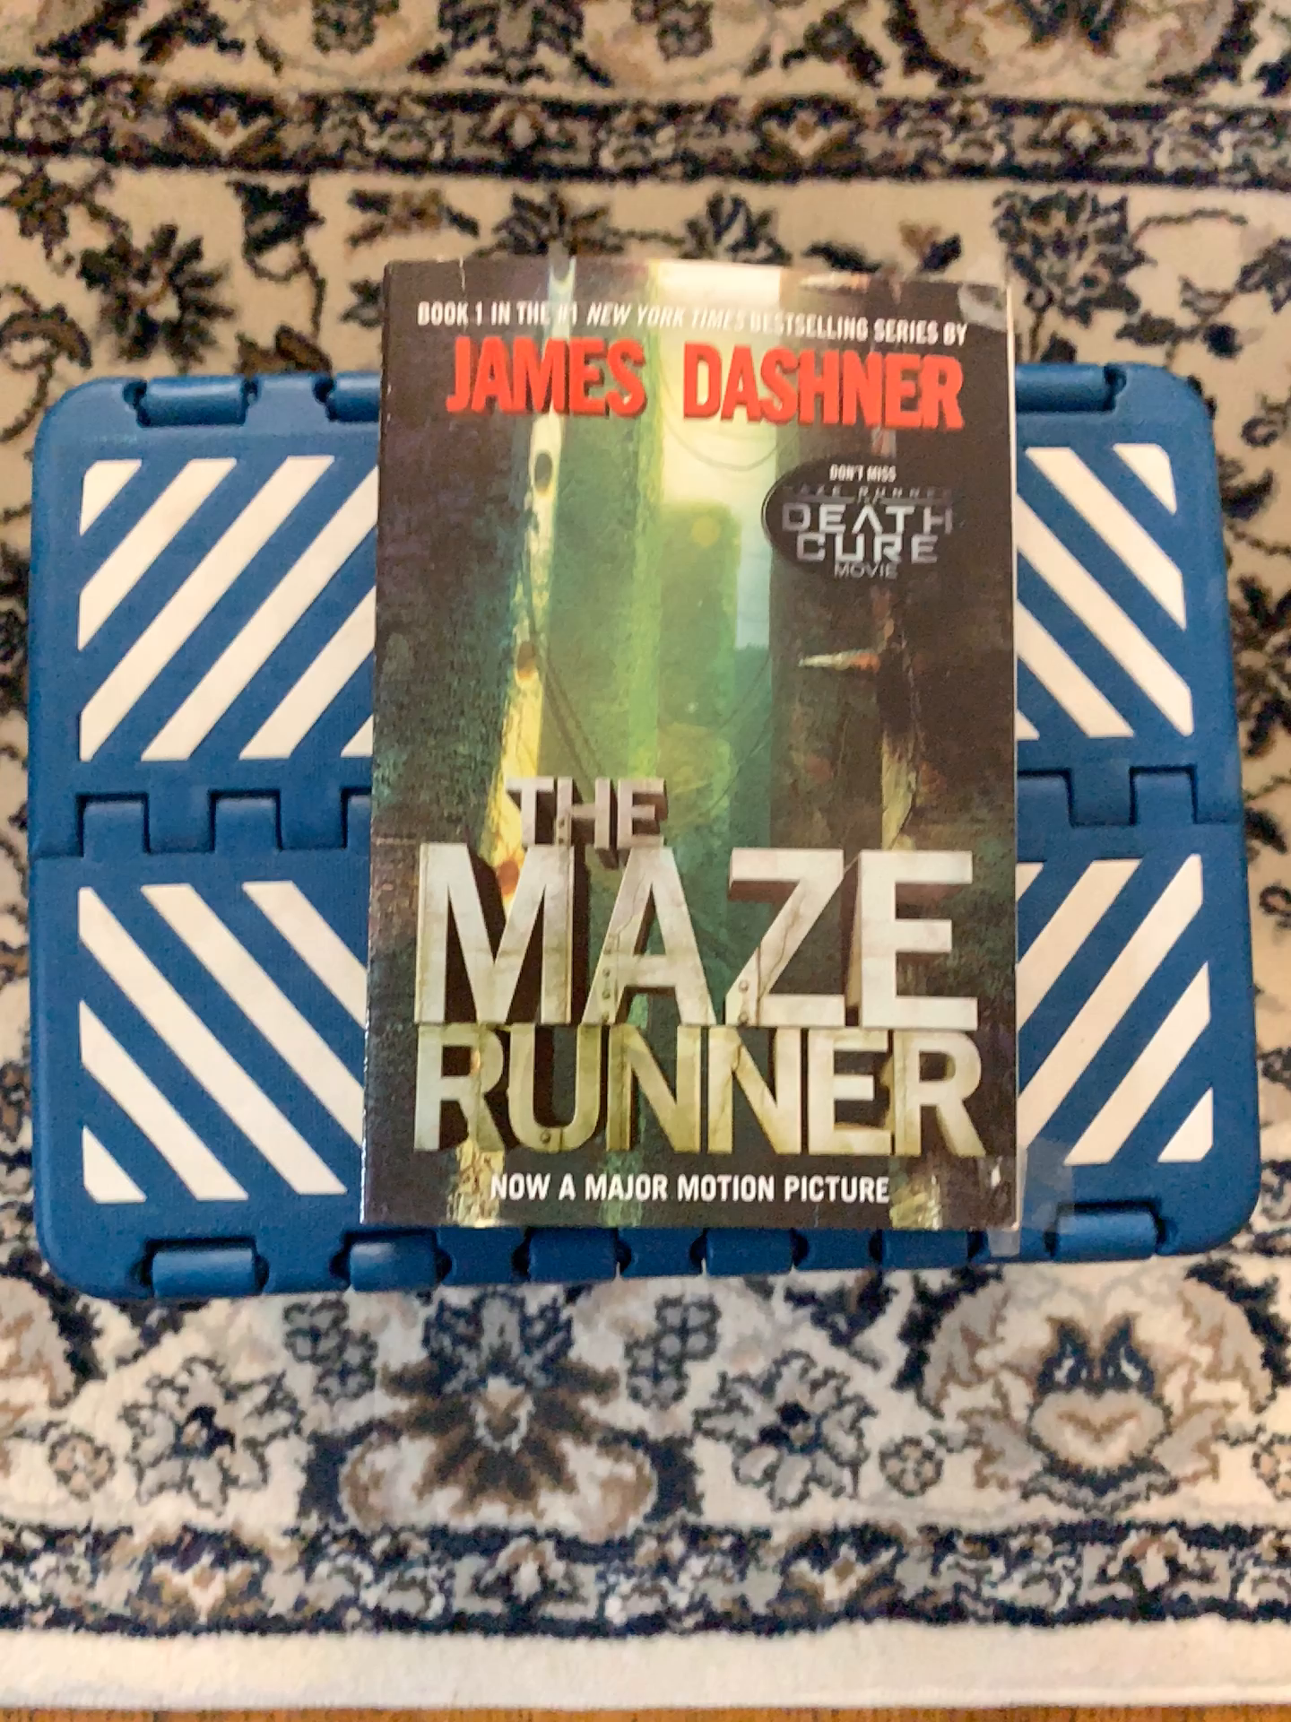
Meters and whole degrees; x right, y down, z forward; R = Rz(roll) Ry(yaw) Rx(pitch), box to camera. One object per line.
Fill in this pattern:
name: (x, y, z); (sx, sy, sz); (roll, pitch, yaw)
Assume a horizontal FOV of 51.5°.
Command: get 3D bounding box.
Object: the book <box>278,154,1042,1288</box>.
book: (0.005, -0.031, 0.288); (0.150, 0.030, 0.230); (1, 85, -2)
